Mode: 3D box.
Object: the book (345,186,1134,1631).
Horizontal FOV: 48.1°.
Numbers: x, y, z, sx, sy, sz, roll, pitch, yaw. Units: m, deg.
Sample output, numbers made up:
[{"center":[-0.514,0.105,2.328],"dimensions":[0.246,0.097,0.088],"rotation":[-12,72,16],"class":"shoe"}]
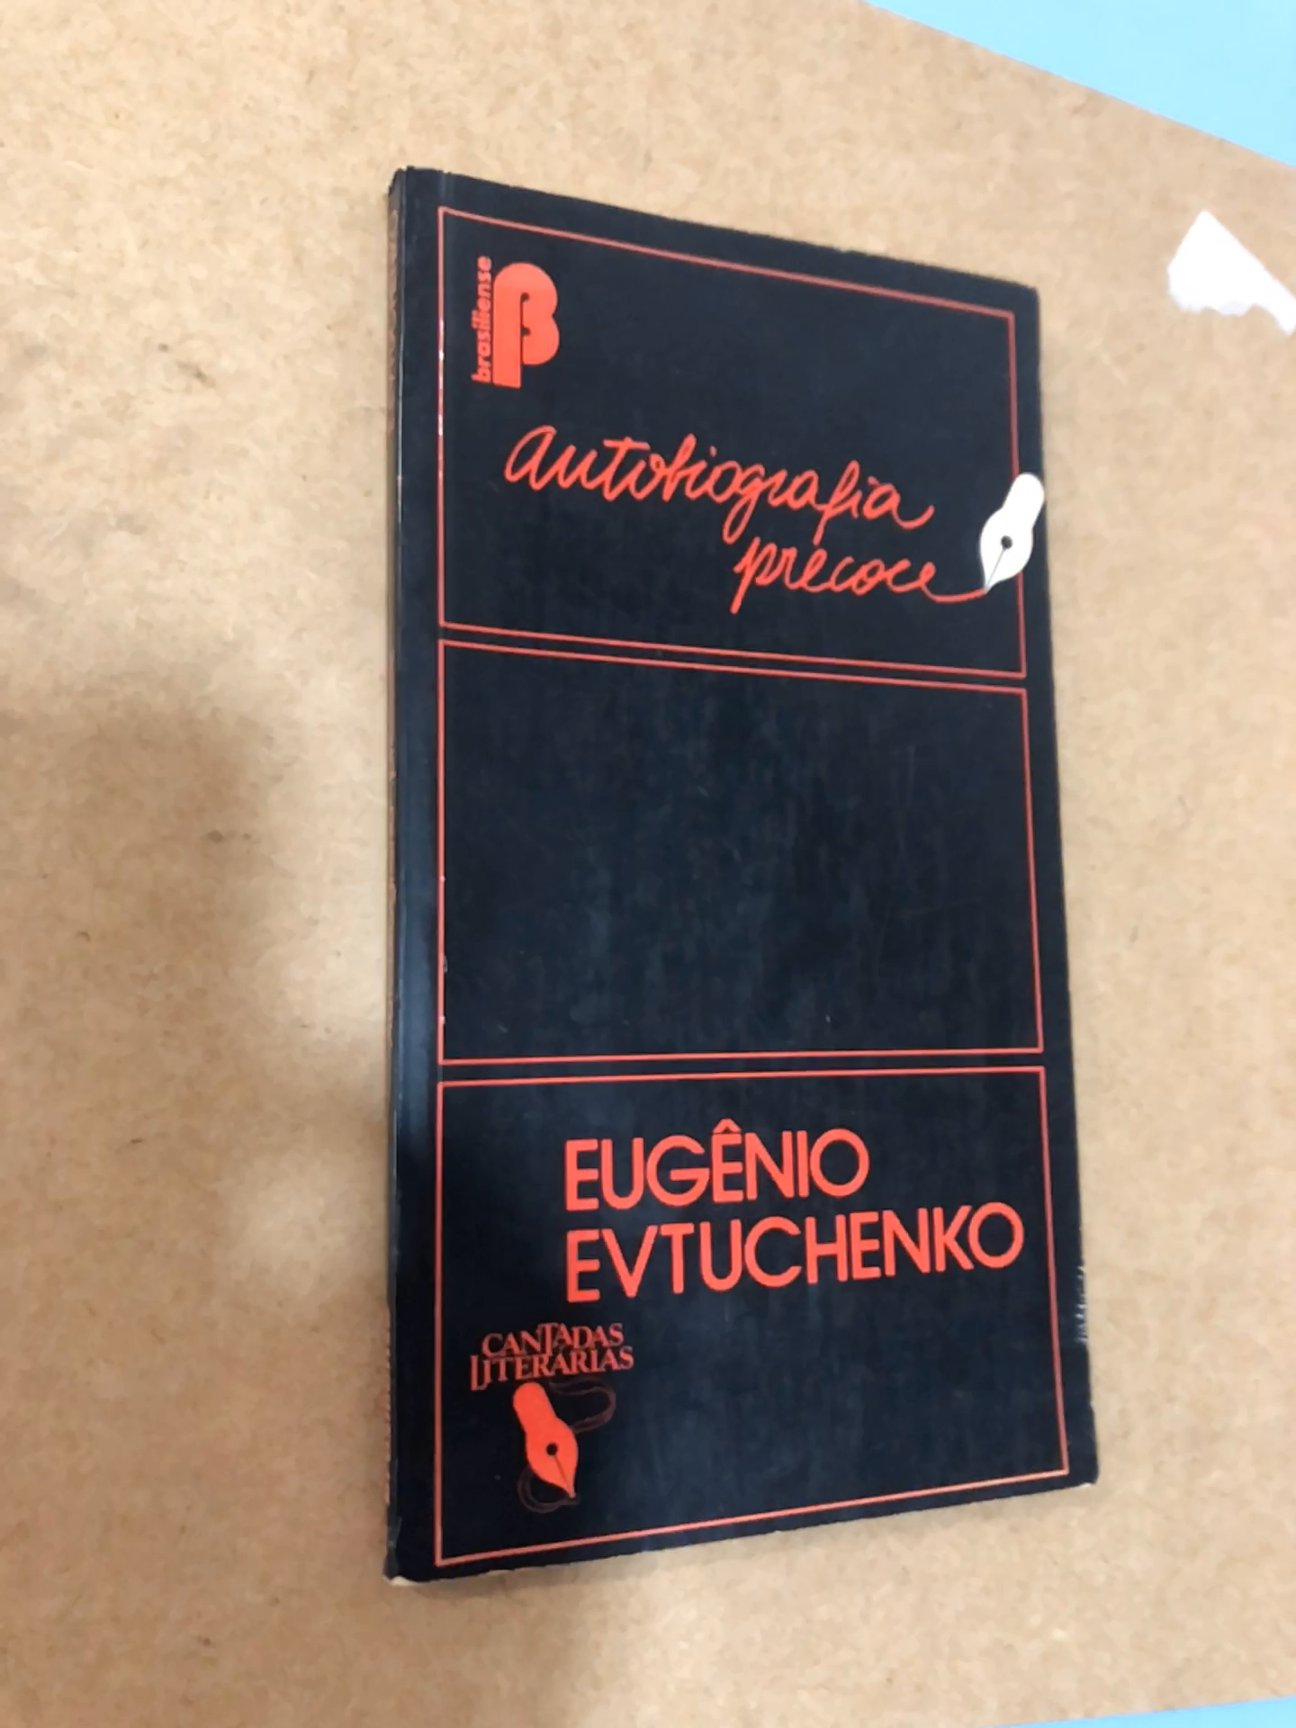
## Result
[{"center":[0.014,0.002,0.217],"dimensions":[0.114,0.016,0.190],"rotation":[2,82,-20],"class":"book"}]
